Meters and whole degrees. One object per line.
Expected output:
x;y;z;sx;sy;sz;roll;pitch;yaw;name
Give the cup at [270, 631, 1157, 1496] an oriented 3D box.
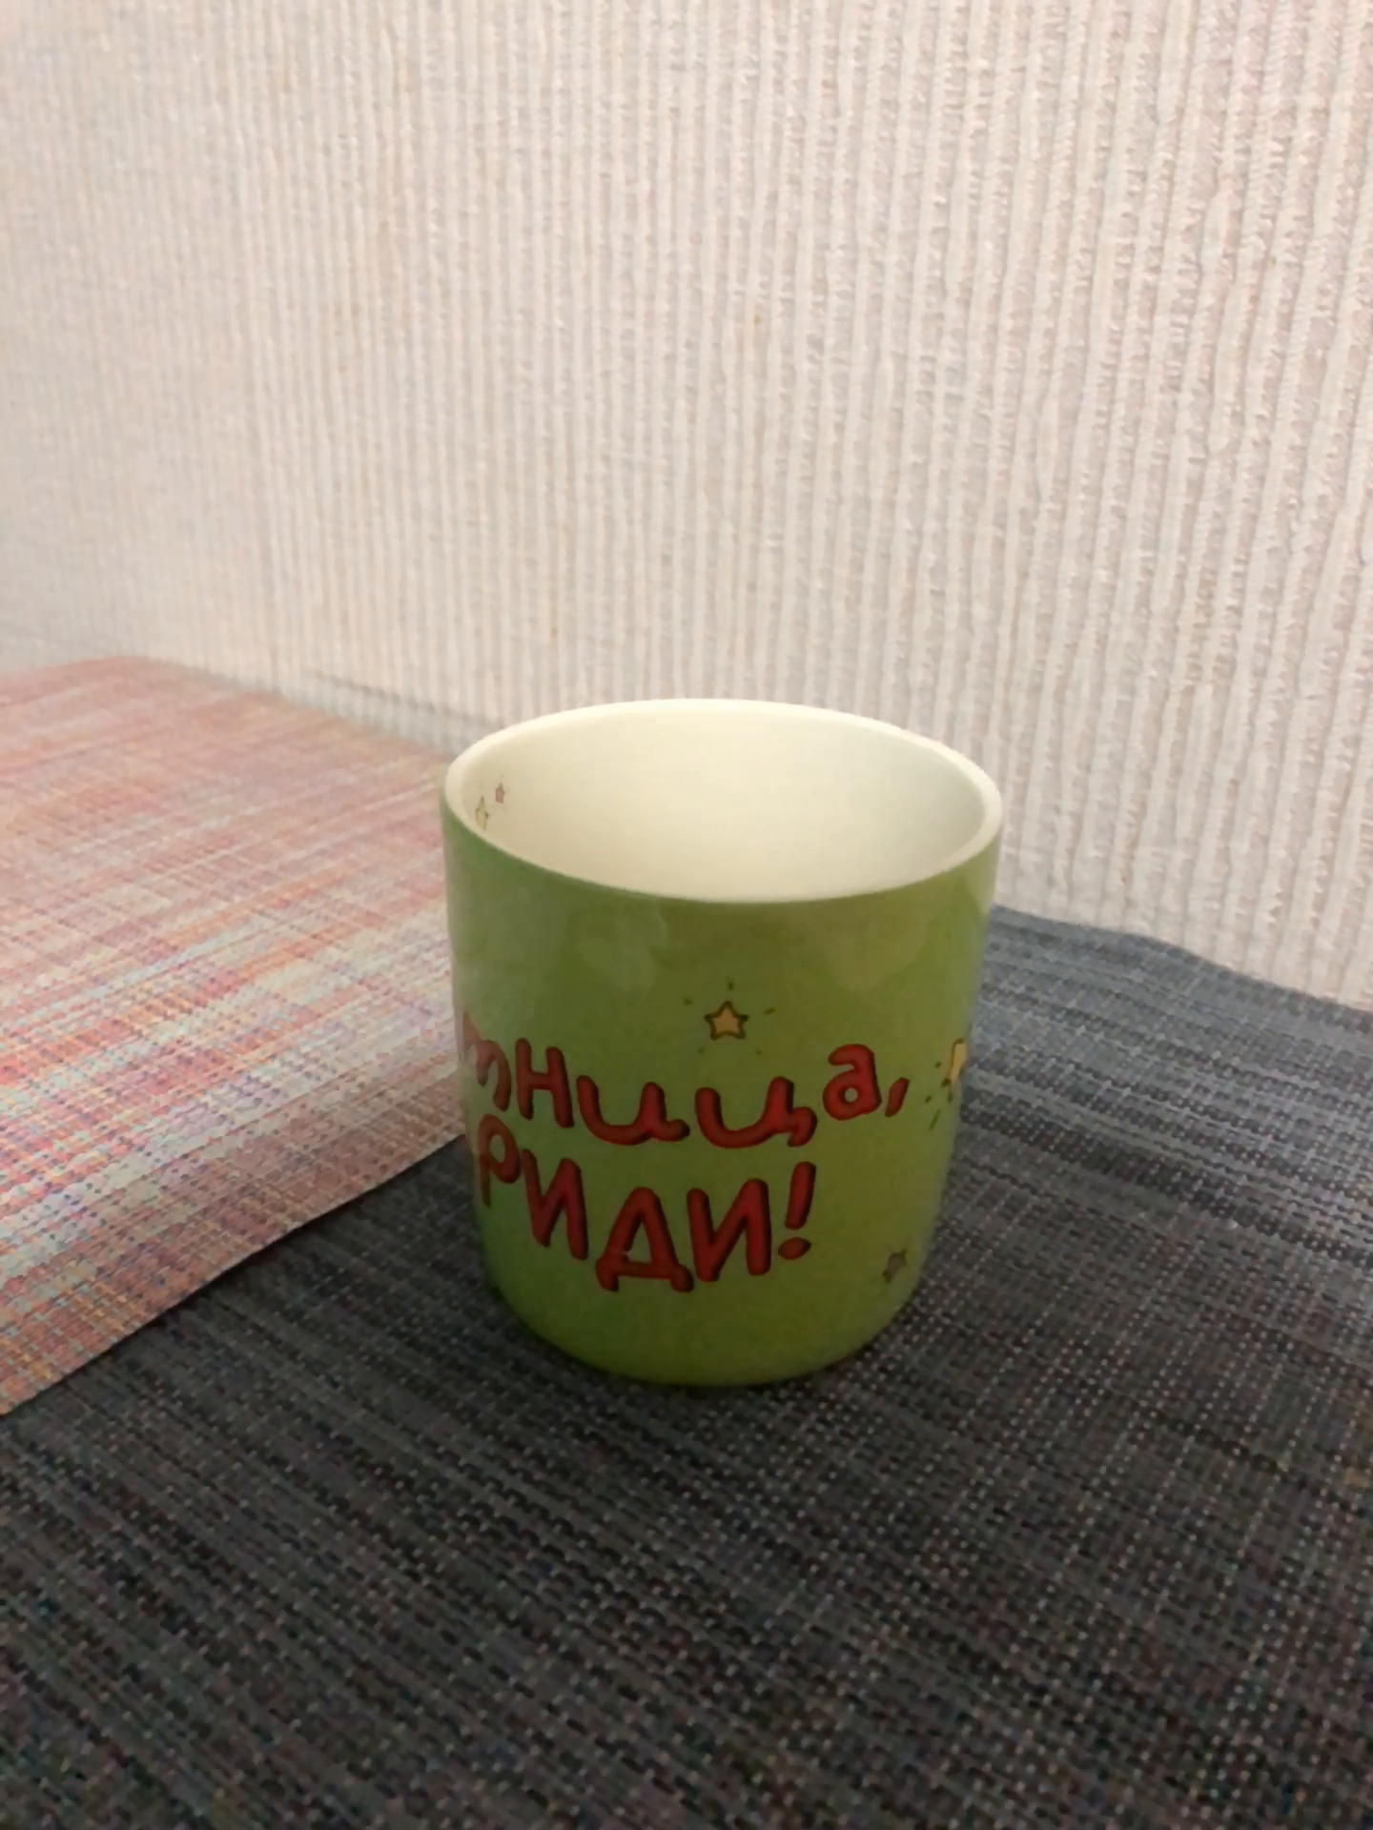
-0.002;0.011;0.259;0.090;0.084;0.115;-16;30;-34;cup
